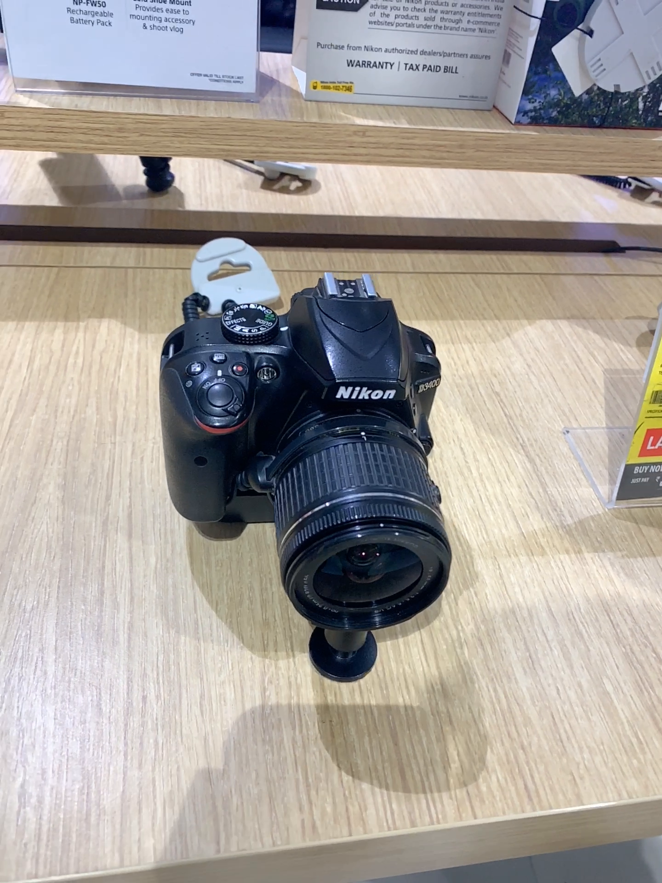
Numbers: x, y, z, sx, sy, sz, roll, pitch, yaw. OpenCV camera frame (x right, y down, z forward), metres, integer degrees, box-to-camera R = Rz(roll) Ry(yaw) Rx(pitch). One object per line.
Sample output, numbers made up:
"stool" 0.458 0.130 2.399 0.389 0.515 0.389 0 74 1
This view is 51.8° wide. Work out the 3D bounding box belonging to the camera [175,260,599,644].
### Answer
"camera" 0.004 -0.001 0.230 0.110 0.073 0.100 -1 43 -13
